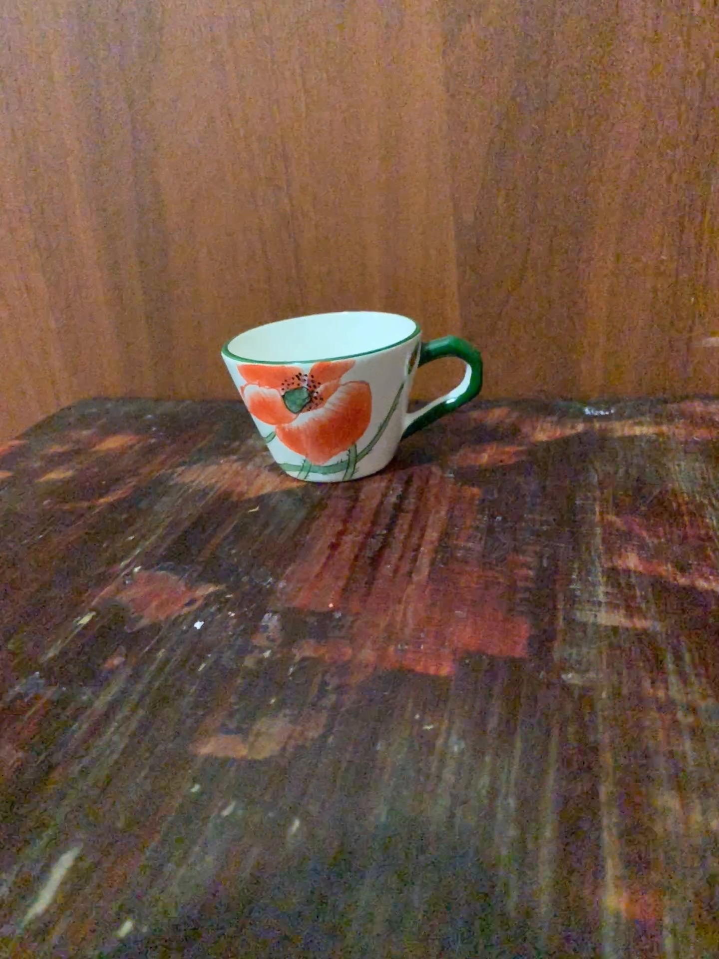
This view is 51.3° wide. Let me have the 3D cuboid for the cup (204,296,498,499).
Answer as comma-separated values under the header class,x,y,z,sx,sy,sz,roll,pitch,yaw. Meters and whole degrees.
class,x,y,z,sx,sy,sz,roll,pitch,yaw
cup,-0.002,-0.035,0.287,0.094,0.045,0.076,-6,24,2
